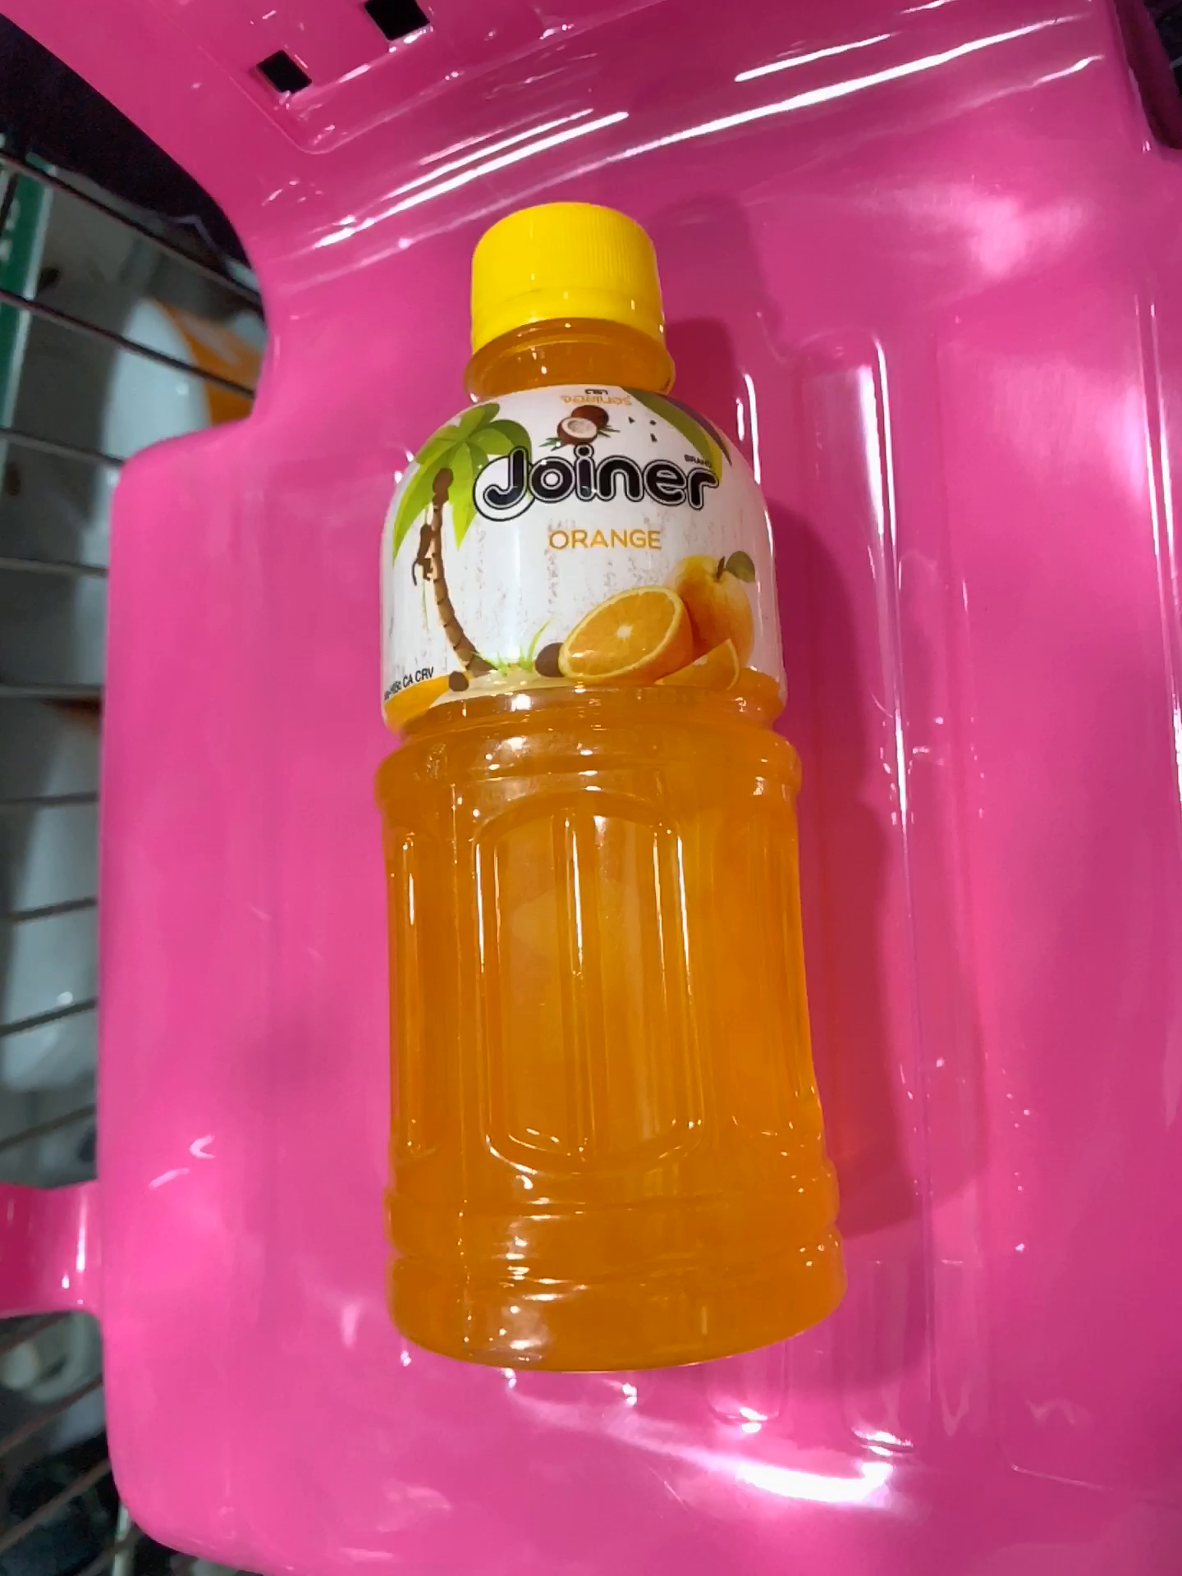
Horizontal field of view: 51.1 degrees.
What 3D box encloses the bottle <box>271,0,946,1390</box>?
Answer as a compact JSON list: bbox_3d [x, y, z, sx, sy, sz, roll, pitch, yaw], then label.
[{"bbox_3d":[0.002,-0.015,0.177,0.070,0.060,0.170,-4,85,6],"label":"bottle"}]
